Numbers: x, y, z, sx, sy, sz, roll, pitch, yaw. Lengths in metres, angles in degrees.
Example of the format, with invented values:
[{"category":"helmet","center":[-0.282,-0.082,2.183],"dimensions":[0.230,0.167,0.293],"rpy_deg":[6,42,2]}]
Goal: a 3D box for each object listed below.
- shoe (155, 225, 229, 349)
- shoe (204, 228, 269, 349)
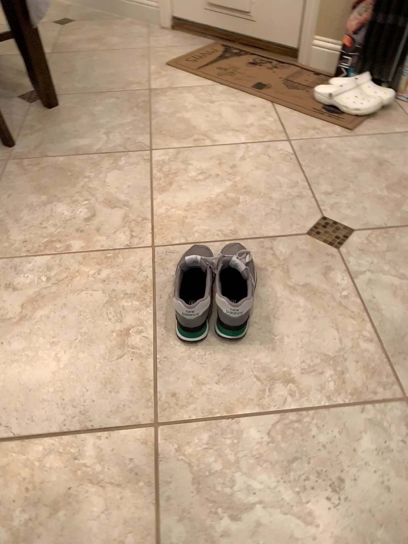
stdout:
[{"category":"shoe","center":[-0.019,0.025,0.986],"dimensions":[0.115,0.103,0.285],"rpy_deg":[7,47,8]},{"category":"shoe","center":[0.081,0.030,0.987],"dimensions":[0.115,0.103,0.275],"rpy_deg":[7,47,8]}]
